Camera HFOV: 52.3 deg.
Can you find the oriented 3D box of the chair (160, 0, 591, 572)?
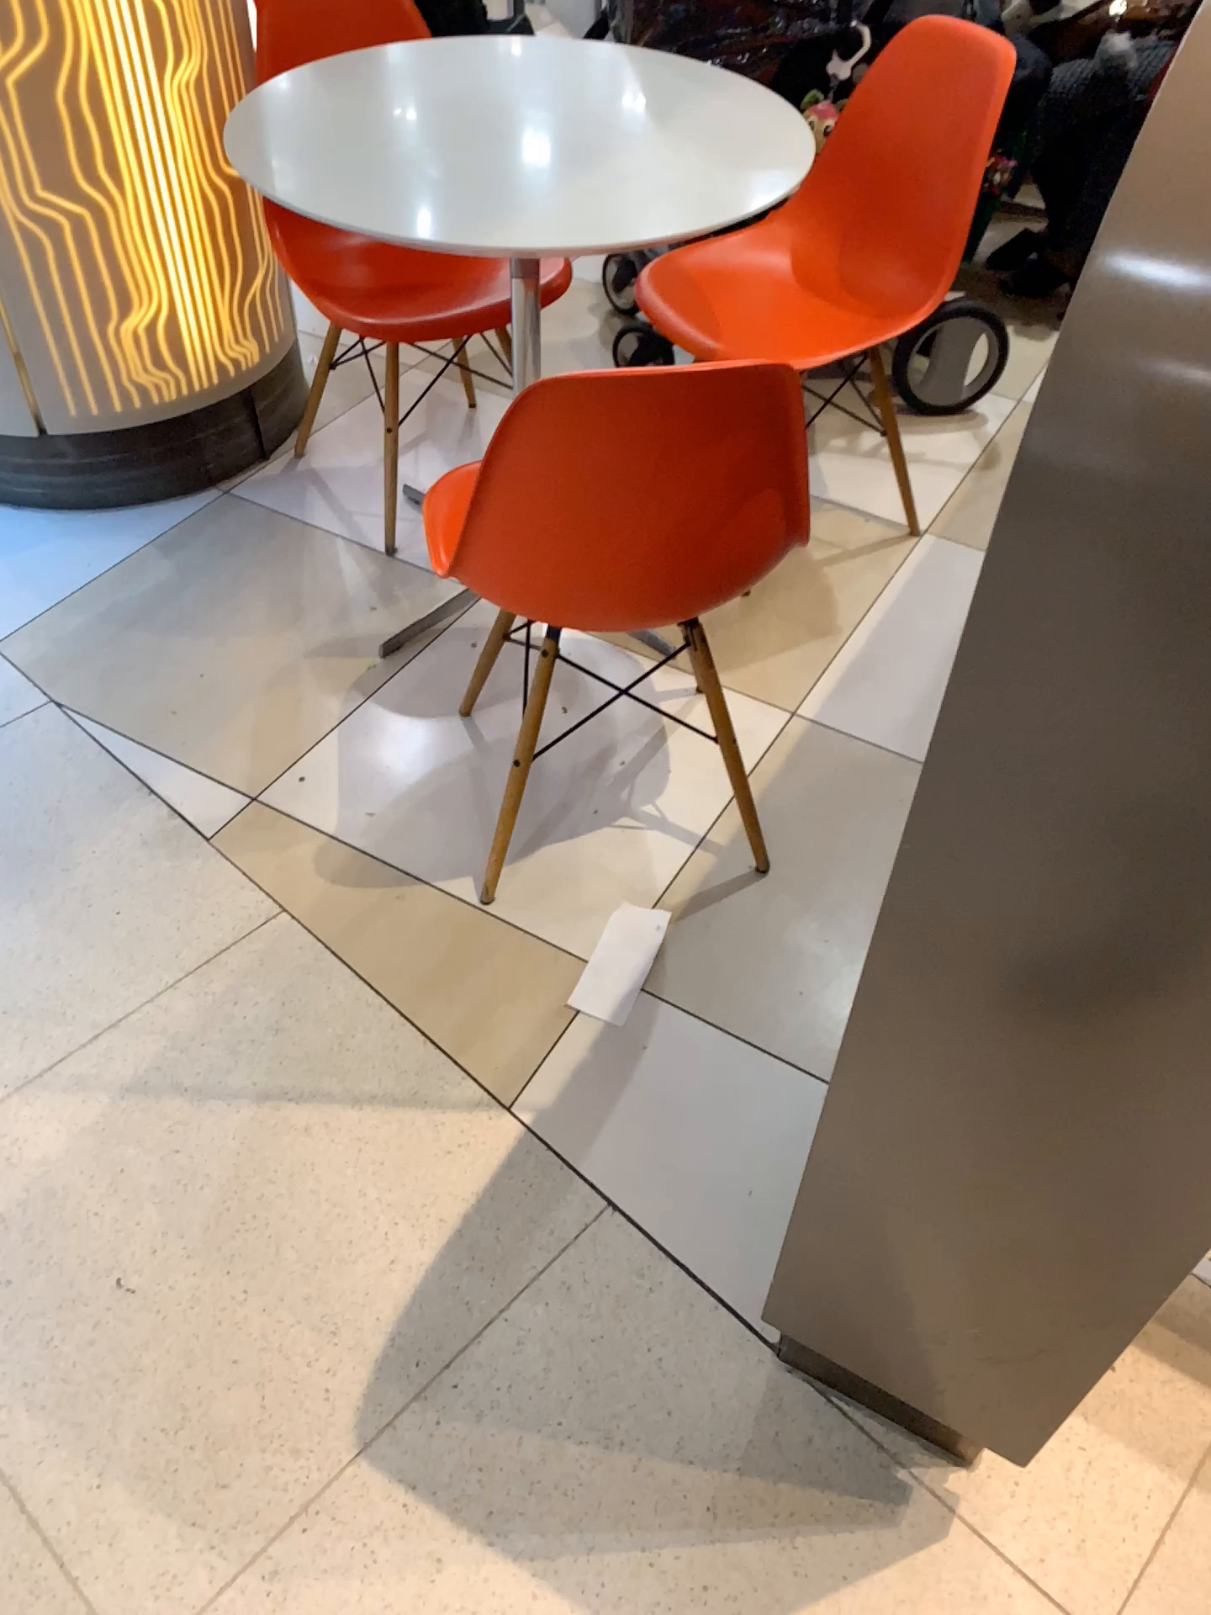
[{"bbox_3d":[-0.365,-0.920,2.115,0.449,0.762,0.513,-26,53,-25],"label":"chair"}]

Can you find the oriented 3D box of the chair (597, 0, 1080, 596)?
[{"bbox_3d":[0.335,-0.855,2.073,0.522,0.742,0.450,-23,51,-23],"label":"chair"}]

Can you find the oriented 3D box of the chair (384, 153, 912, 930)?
[{"bbox_3d":[0.001,-0.311,1.521,0.448,0.742,0.525,-6,46,-8],"label":"chair"}]
